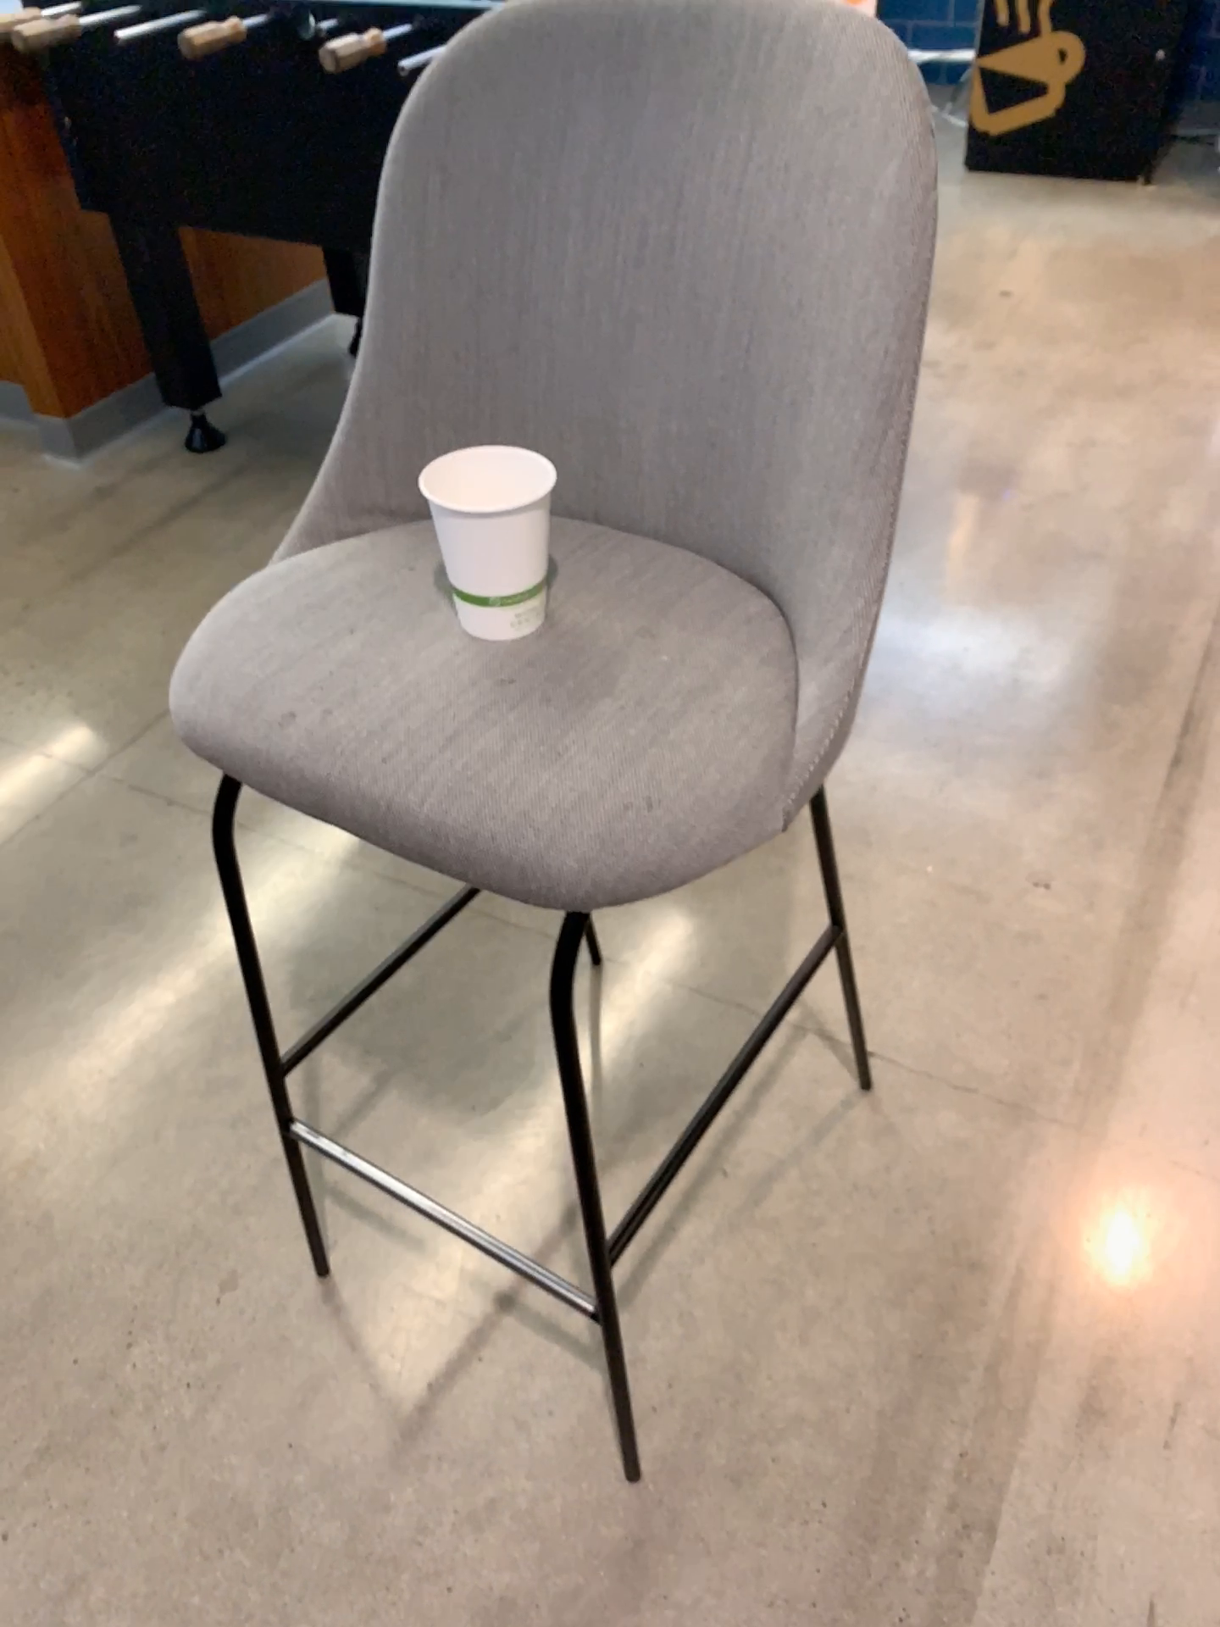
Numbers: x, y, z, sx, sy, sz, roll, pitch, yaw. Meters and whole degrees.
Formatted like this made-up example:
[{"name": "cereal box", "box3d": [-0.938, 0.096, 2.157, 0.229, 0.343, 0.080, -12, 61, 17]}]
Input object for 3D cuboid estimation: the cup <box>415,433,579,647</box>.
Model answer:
[{"name": "cup", "box3d": [-0.069, -0.177, 0.815, 0.090, 0.099, 0.091, -2, 41, 2]}]
